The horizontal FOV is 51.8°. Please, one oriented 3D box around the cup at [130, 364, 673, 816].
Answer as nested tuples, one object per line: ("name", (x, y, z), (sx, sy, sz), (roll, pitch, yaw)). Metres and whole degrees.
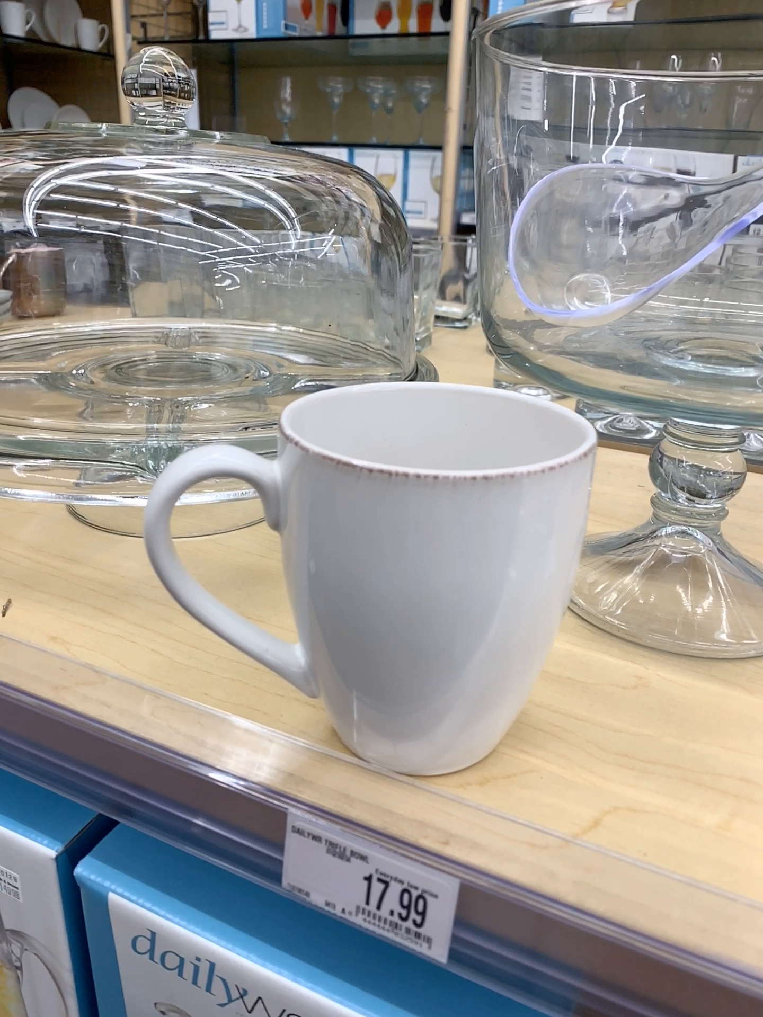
("cup", (-0.003, 0.015, 0.244), (0.130, 0.094, 0.096), (-3, 26, -13))
